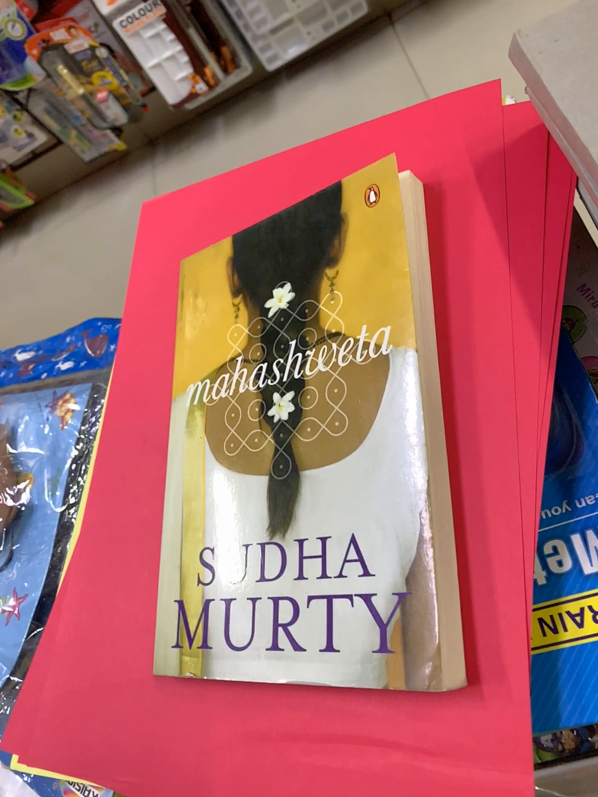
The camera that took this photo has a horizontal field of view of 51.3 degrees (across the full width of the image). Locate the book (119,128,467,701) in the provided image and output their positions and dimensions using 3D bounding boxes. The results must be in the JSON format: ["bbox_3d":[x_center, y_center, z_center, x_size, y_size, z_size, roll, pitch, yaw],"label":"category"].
[{"bbox_3d":[-0.012,0.007,0.254,0.140,0.020,0.201,-15,65,35],"label":"book"}]
